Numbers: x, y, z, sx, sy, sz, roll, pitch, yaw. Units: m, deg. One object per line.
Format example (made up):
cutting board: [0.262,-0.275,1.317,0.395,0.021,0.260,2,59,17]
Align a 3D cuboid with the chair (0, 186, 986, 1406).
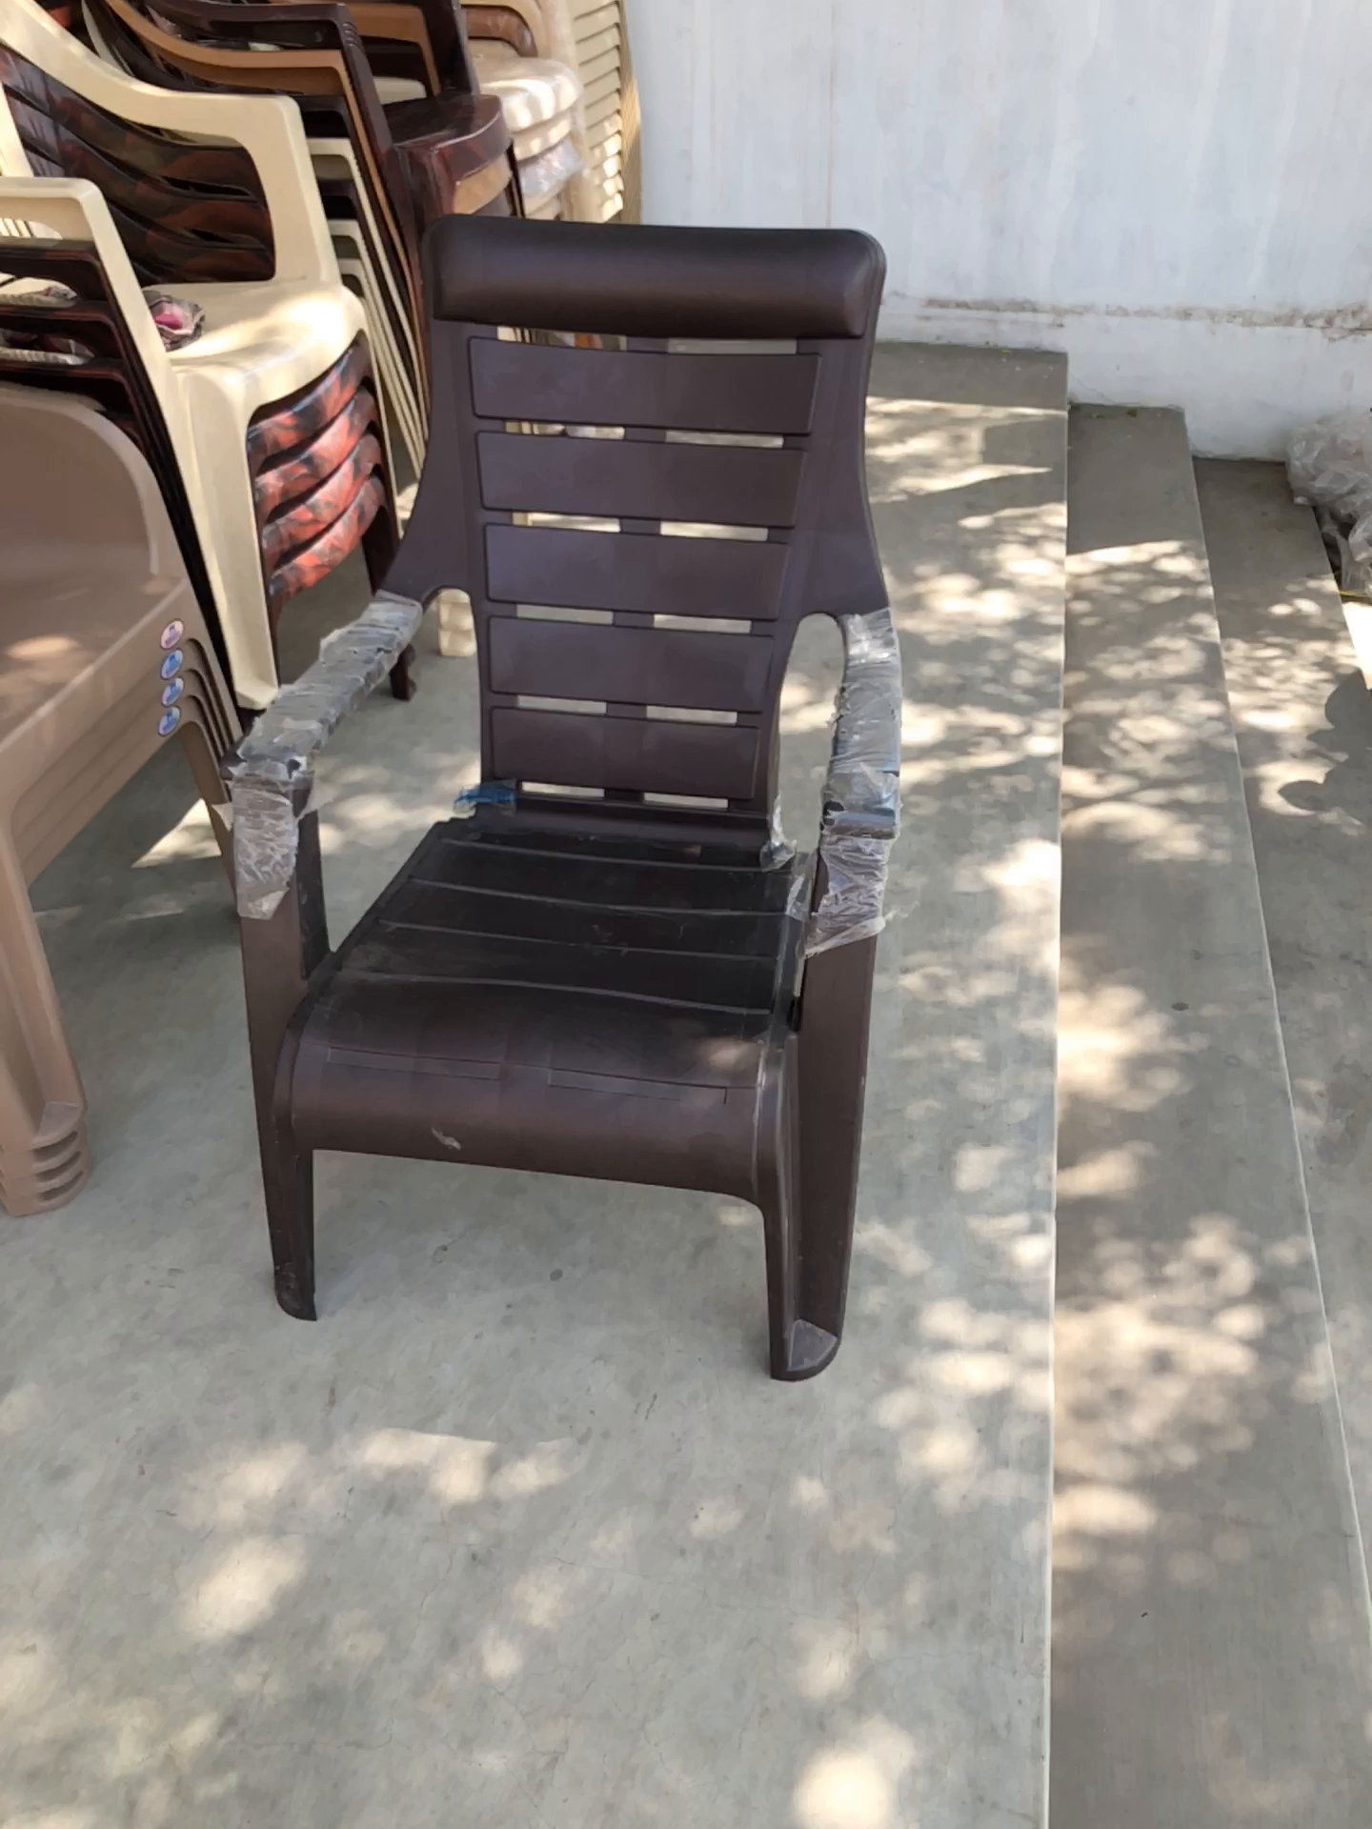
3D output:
chair: [-0.097,-0.149,1.483,0.680,0.875,0.765,5,38,8]
